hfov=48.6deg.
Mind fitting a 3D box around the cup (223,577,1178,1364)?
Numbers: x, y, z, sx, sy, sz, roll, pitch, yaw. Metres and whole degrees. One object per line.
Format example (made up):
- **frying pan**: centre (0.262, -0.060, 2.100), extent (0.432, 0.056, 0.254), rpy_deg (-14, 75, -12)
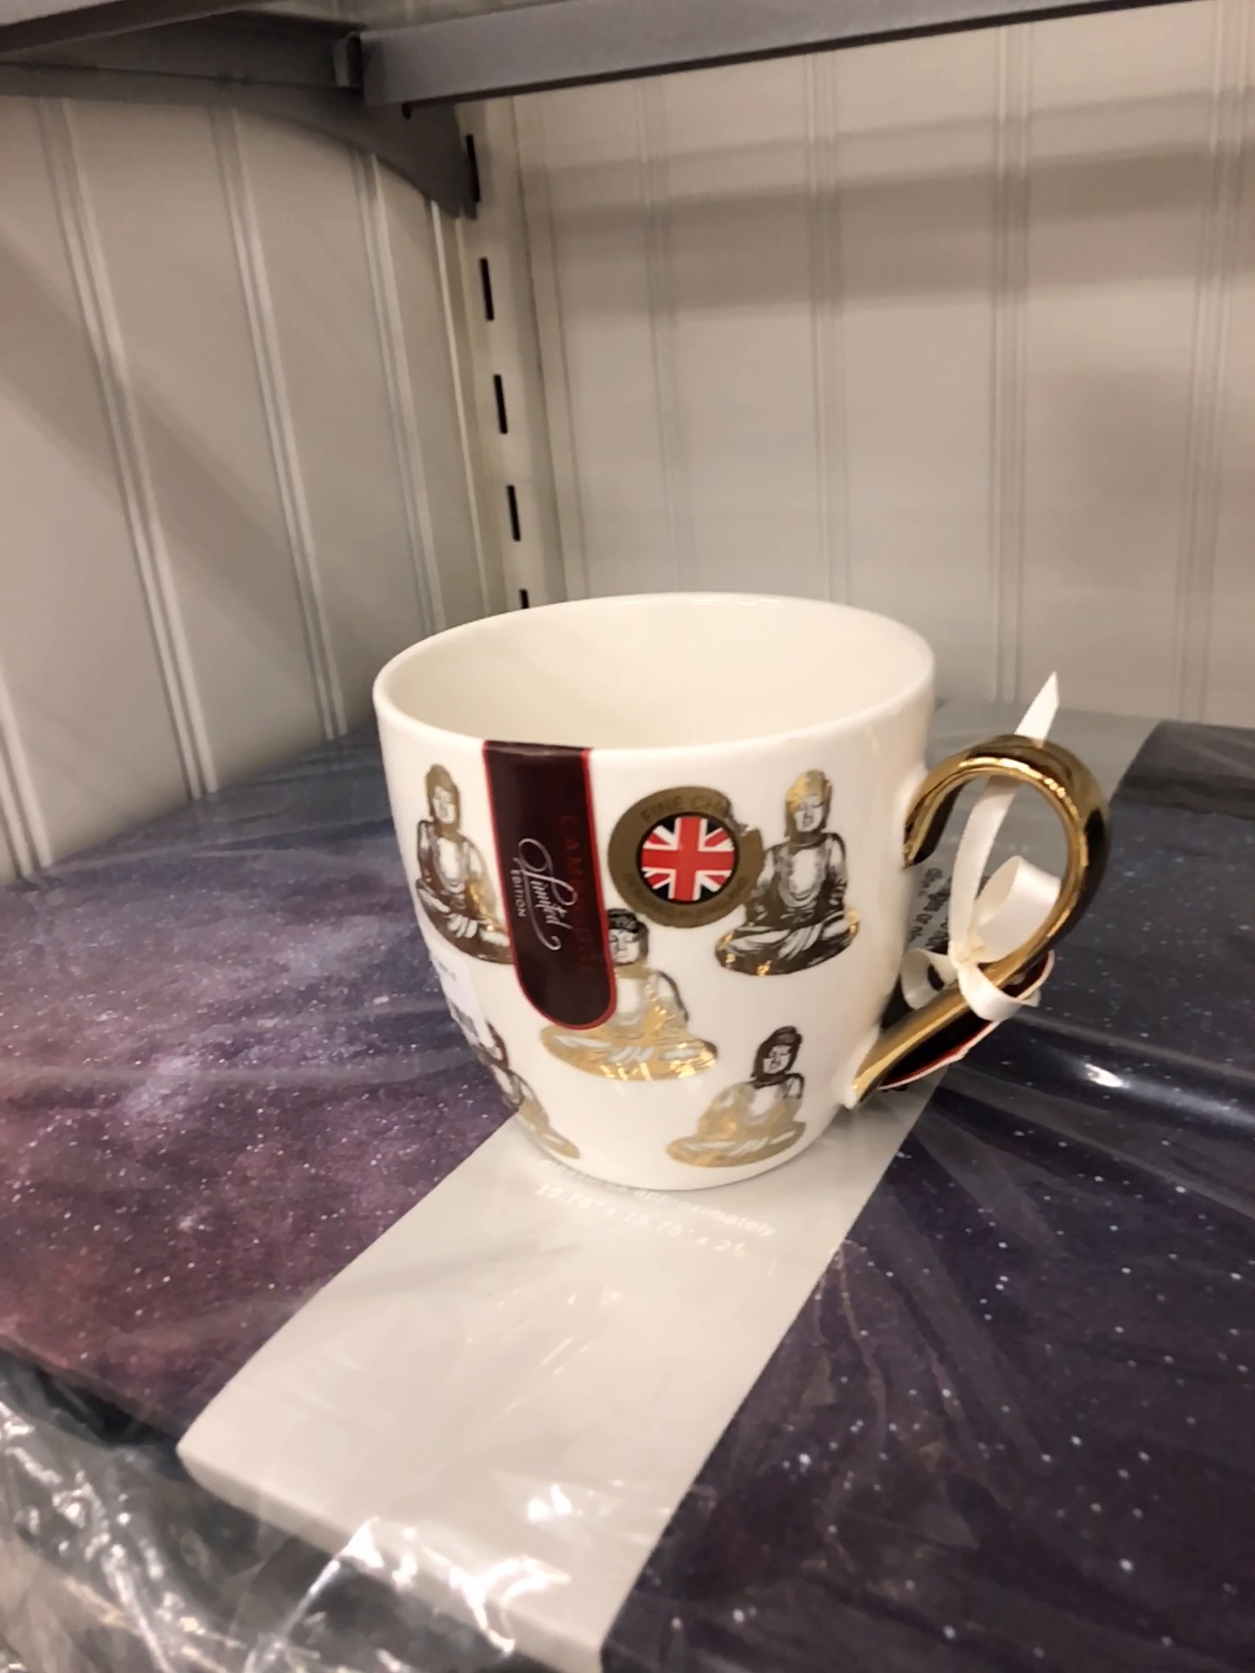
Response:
- **cup**: centre (0.021, 0.010, 0.256), extent (0.137, 0.089, 0.101), rpy_deg (6, 26, 24)
